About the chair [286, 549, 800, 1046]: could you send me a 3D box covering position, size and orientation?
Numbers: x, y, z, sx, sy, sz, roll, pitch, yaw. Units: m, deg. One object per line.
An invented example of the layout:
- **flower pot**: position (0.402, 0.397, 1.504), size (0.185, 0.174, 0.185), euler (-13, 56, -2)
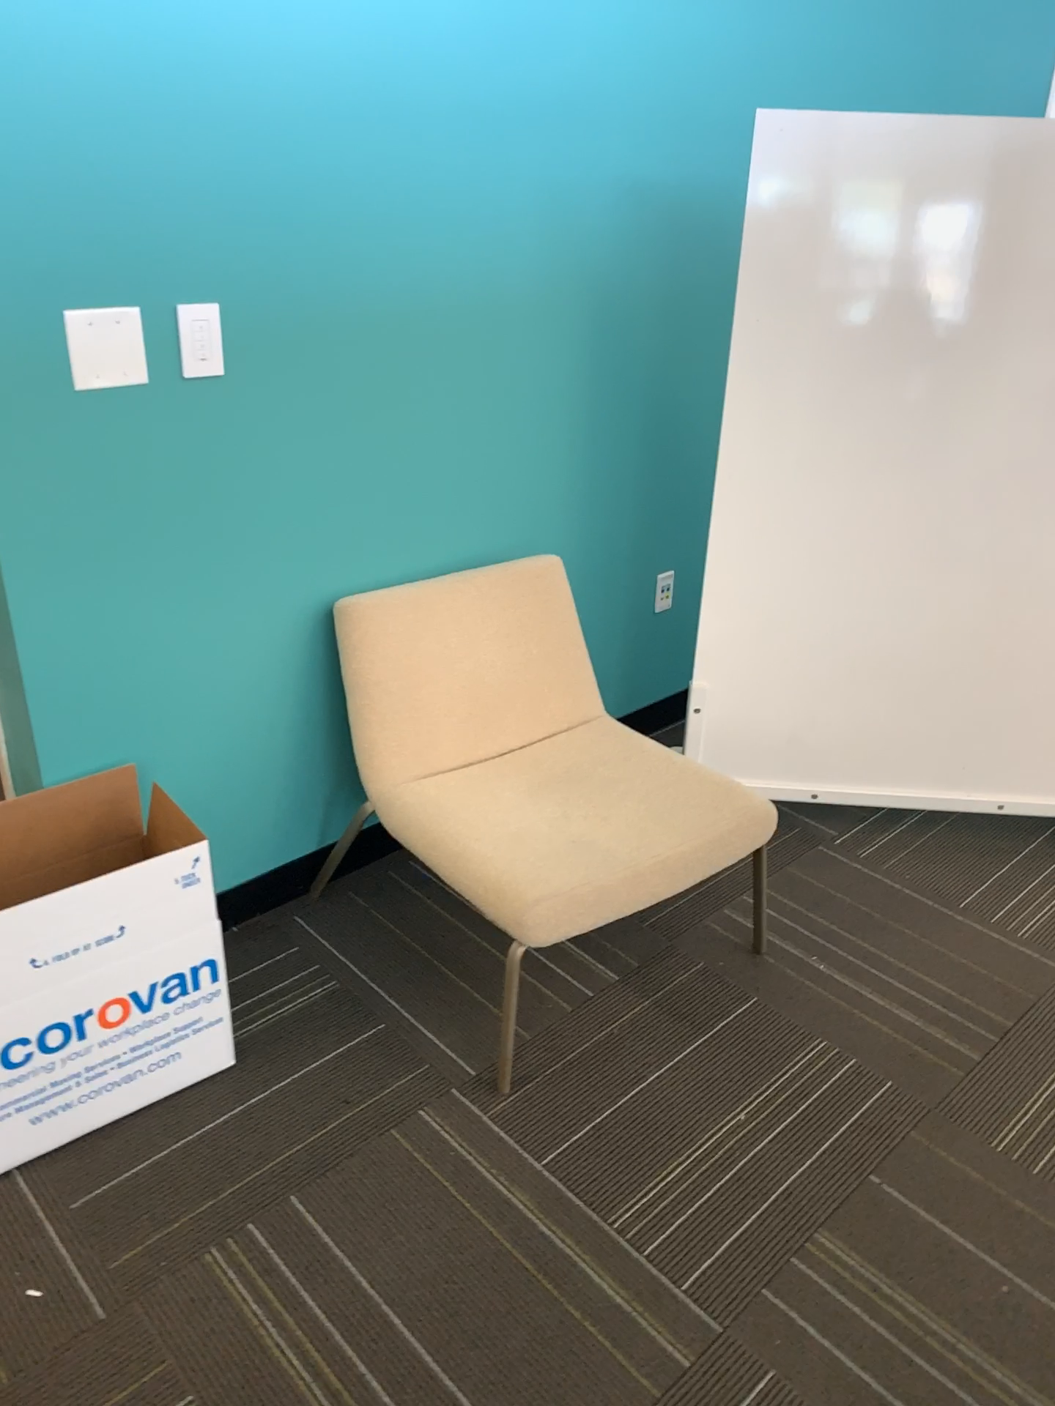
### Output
- **chair**: position (0.005, 0.115, 2.152), size (0.661, 0.567, 0.733), euler (-18, 32, -35)
